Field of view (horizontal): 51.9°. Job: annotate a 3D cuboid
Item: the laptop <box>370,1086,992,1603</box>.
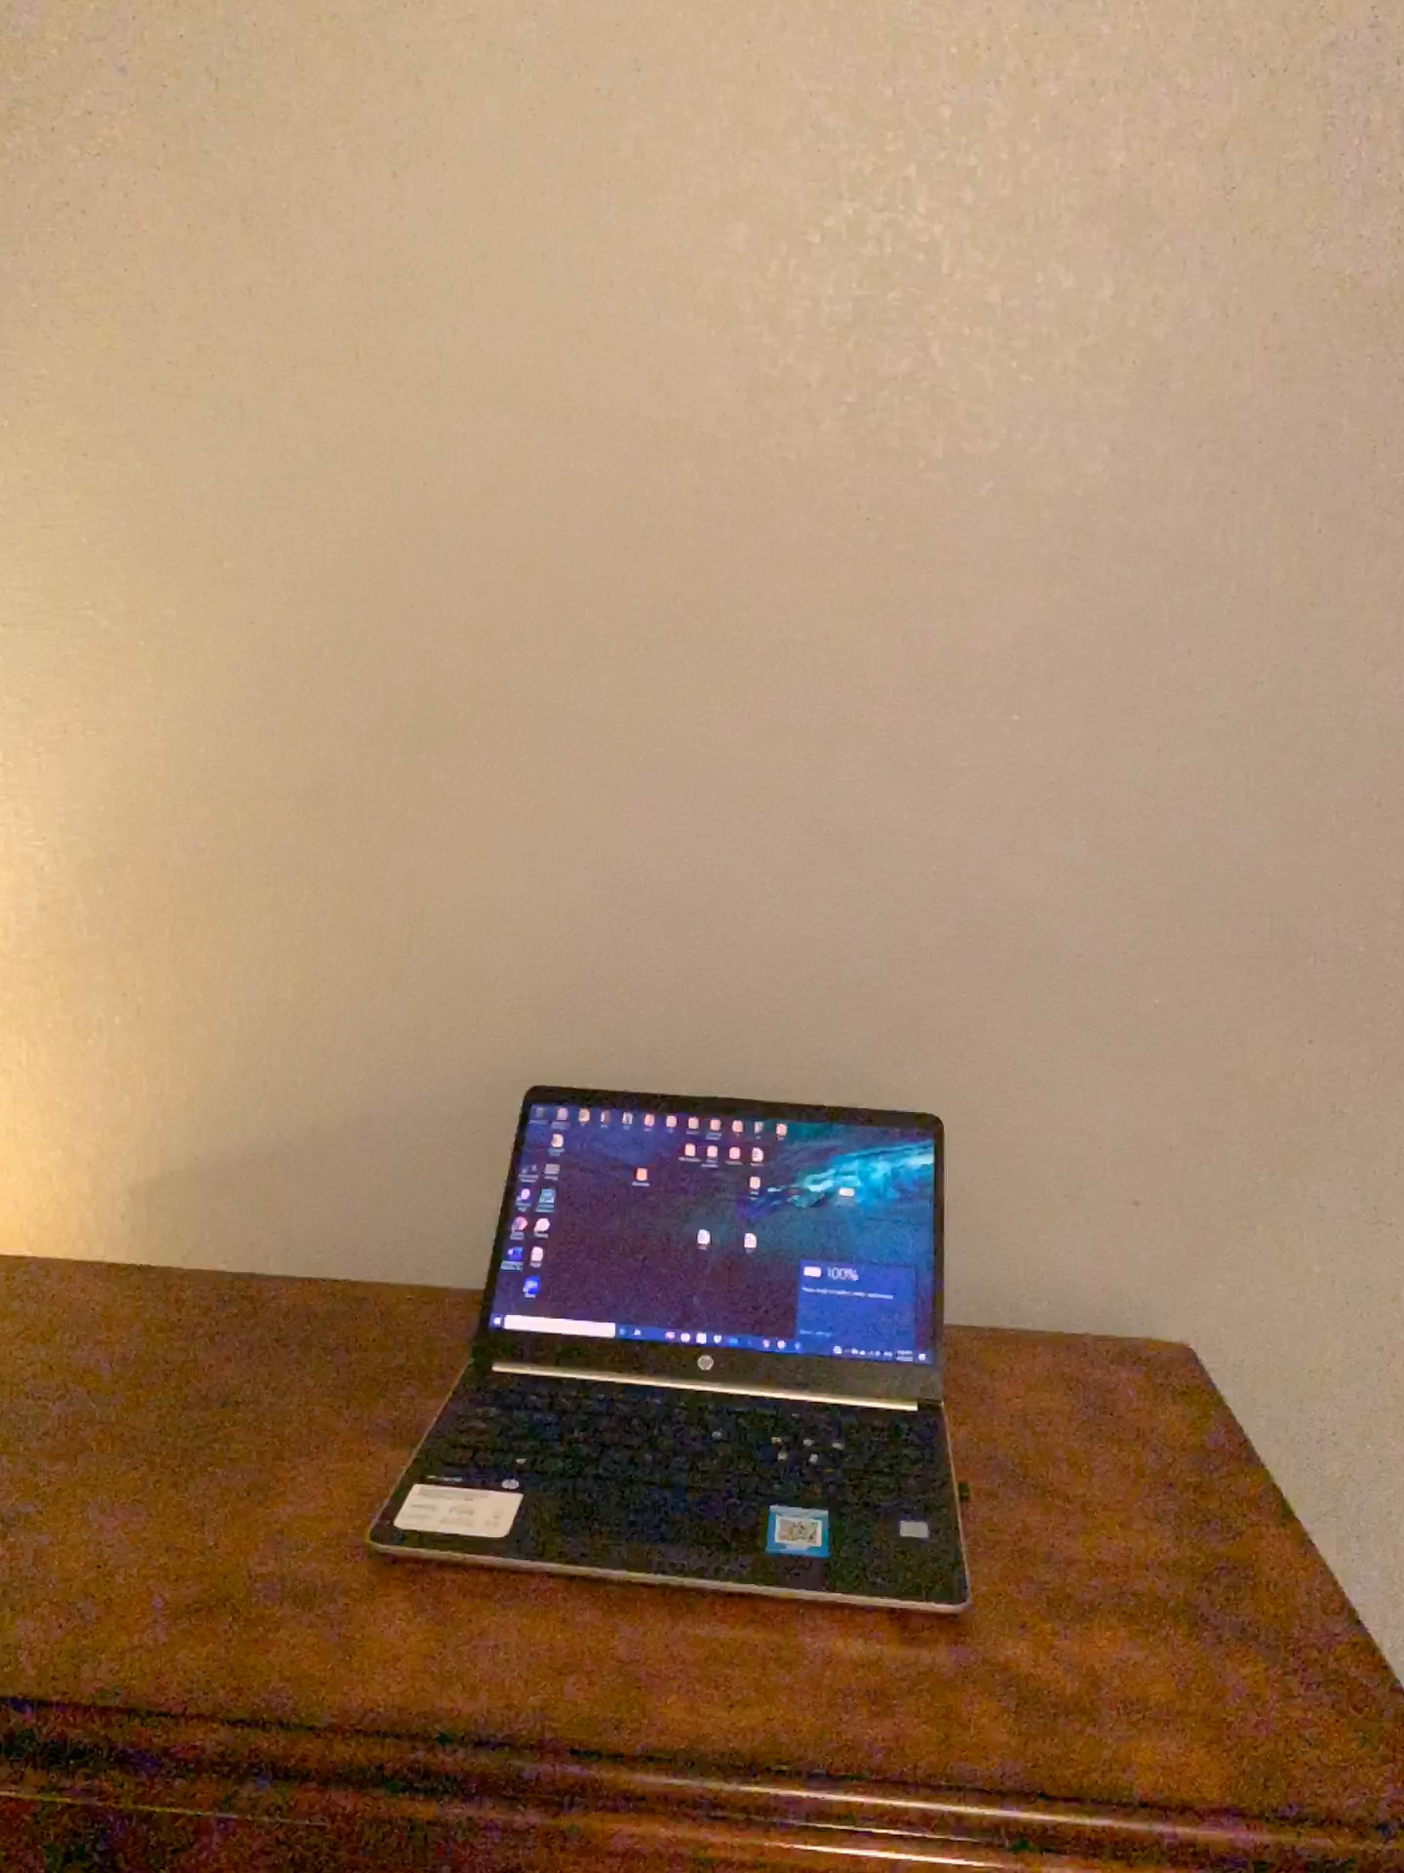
[{"bbox_3d":[0.001,0.229,0.928,0.317,0.152,0.368,4,8,5],"label":"laptop"}]
